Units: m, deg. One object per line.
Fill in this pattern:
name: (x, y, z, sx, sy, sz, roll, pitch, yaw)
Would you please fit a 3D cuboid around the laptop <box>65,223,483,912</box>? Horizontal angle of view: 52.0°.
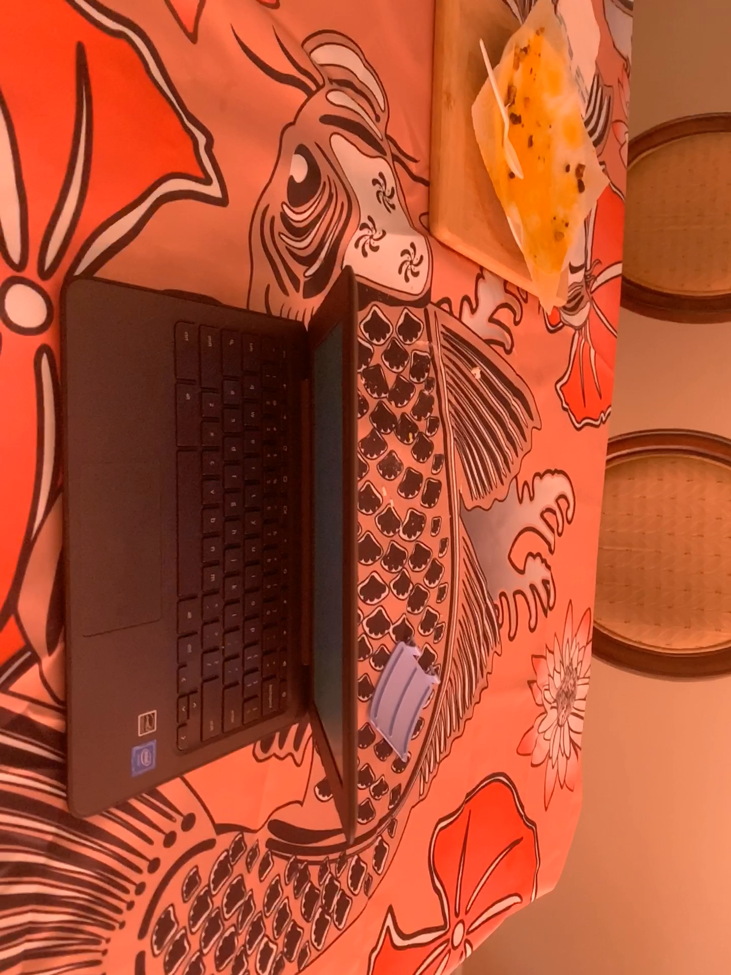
laptop: (-0.041, 0.033, 0.452, 0.212, 0.144, 0.299, -4, 95, -56)
